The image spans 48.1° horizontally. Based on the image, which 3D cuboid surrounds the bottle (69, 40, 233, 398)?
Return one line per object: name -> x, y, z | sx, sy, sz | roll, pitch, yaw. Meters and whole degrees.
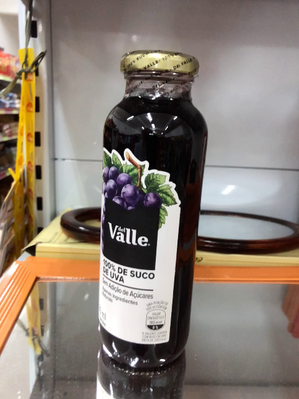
bottle -> -0.002, 0.012, 0.205 | 0.070, 0.189, 0.060 | 10, 16, 23
